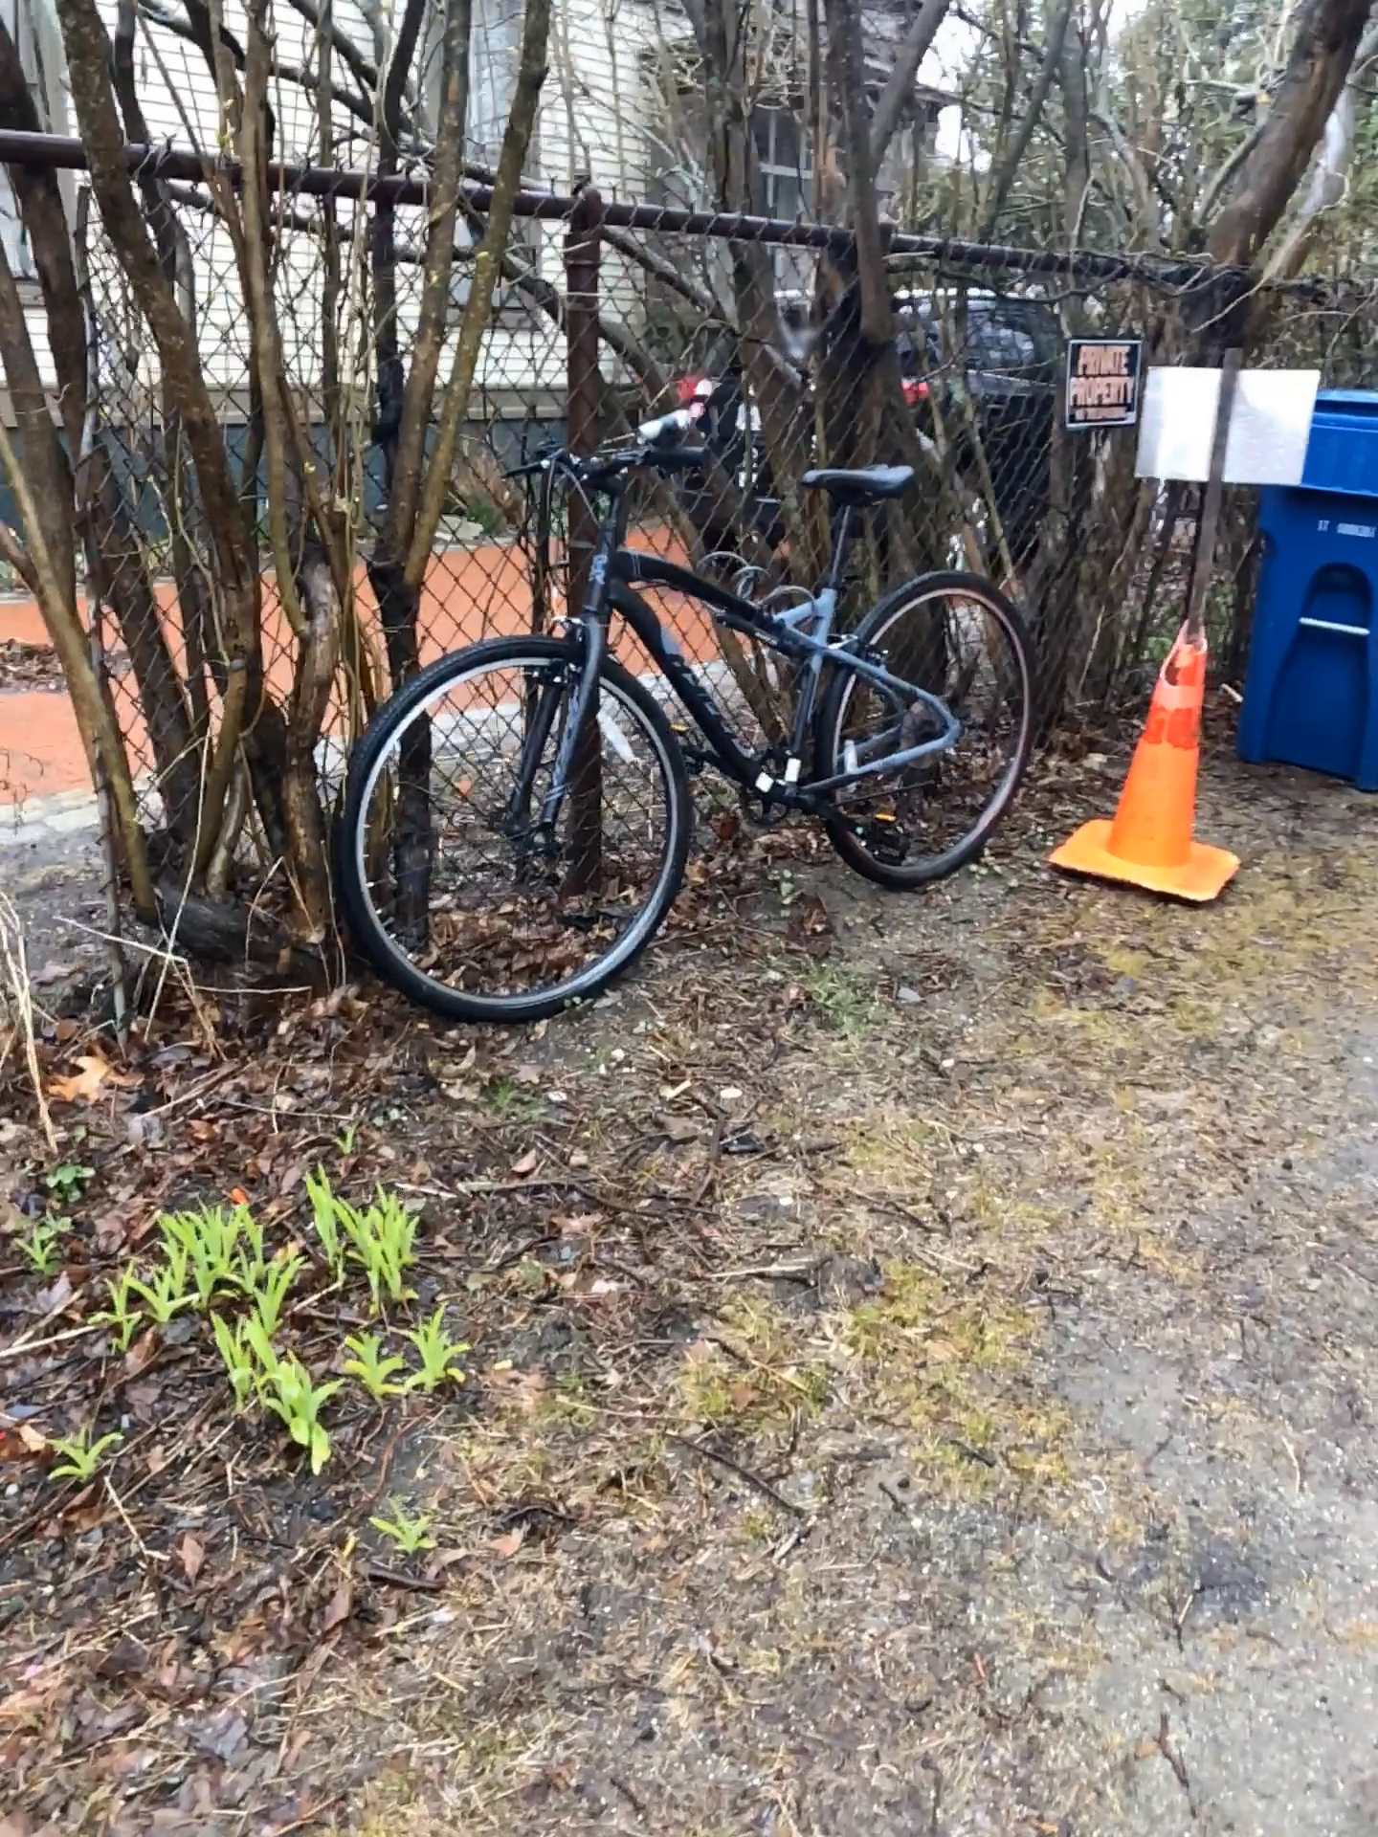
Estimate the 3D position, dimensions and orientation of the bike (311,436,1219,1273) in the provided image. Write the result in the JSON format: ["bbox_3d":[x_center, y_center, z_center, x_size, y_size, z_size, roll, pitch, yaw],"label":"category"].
[{"bbox_3d":[0.239,-0.287,3.031,1.889,1.068,0.538,-20,29,-36],"label":"bike"}]
